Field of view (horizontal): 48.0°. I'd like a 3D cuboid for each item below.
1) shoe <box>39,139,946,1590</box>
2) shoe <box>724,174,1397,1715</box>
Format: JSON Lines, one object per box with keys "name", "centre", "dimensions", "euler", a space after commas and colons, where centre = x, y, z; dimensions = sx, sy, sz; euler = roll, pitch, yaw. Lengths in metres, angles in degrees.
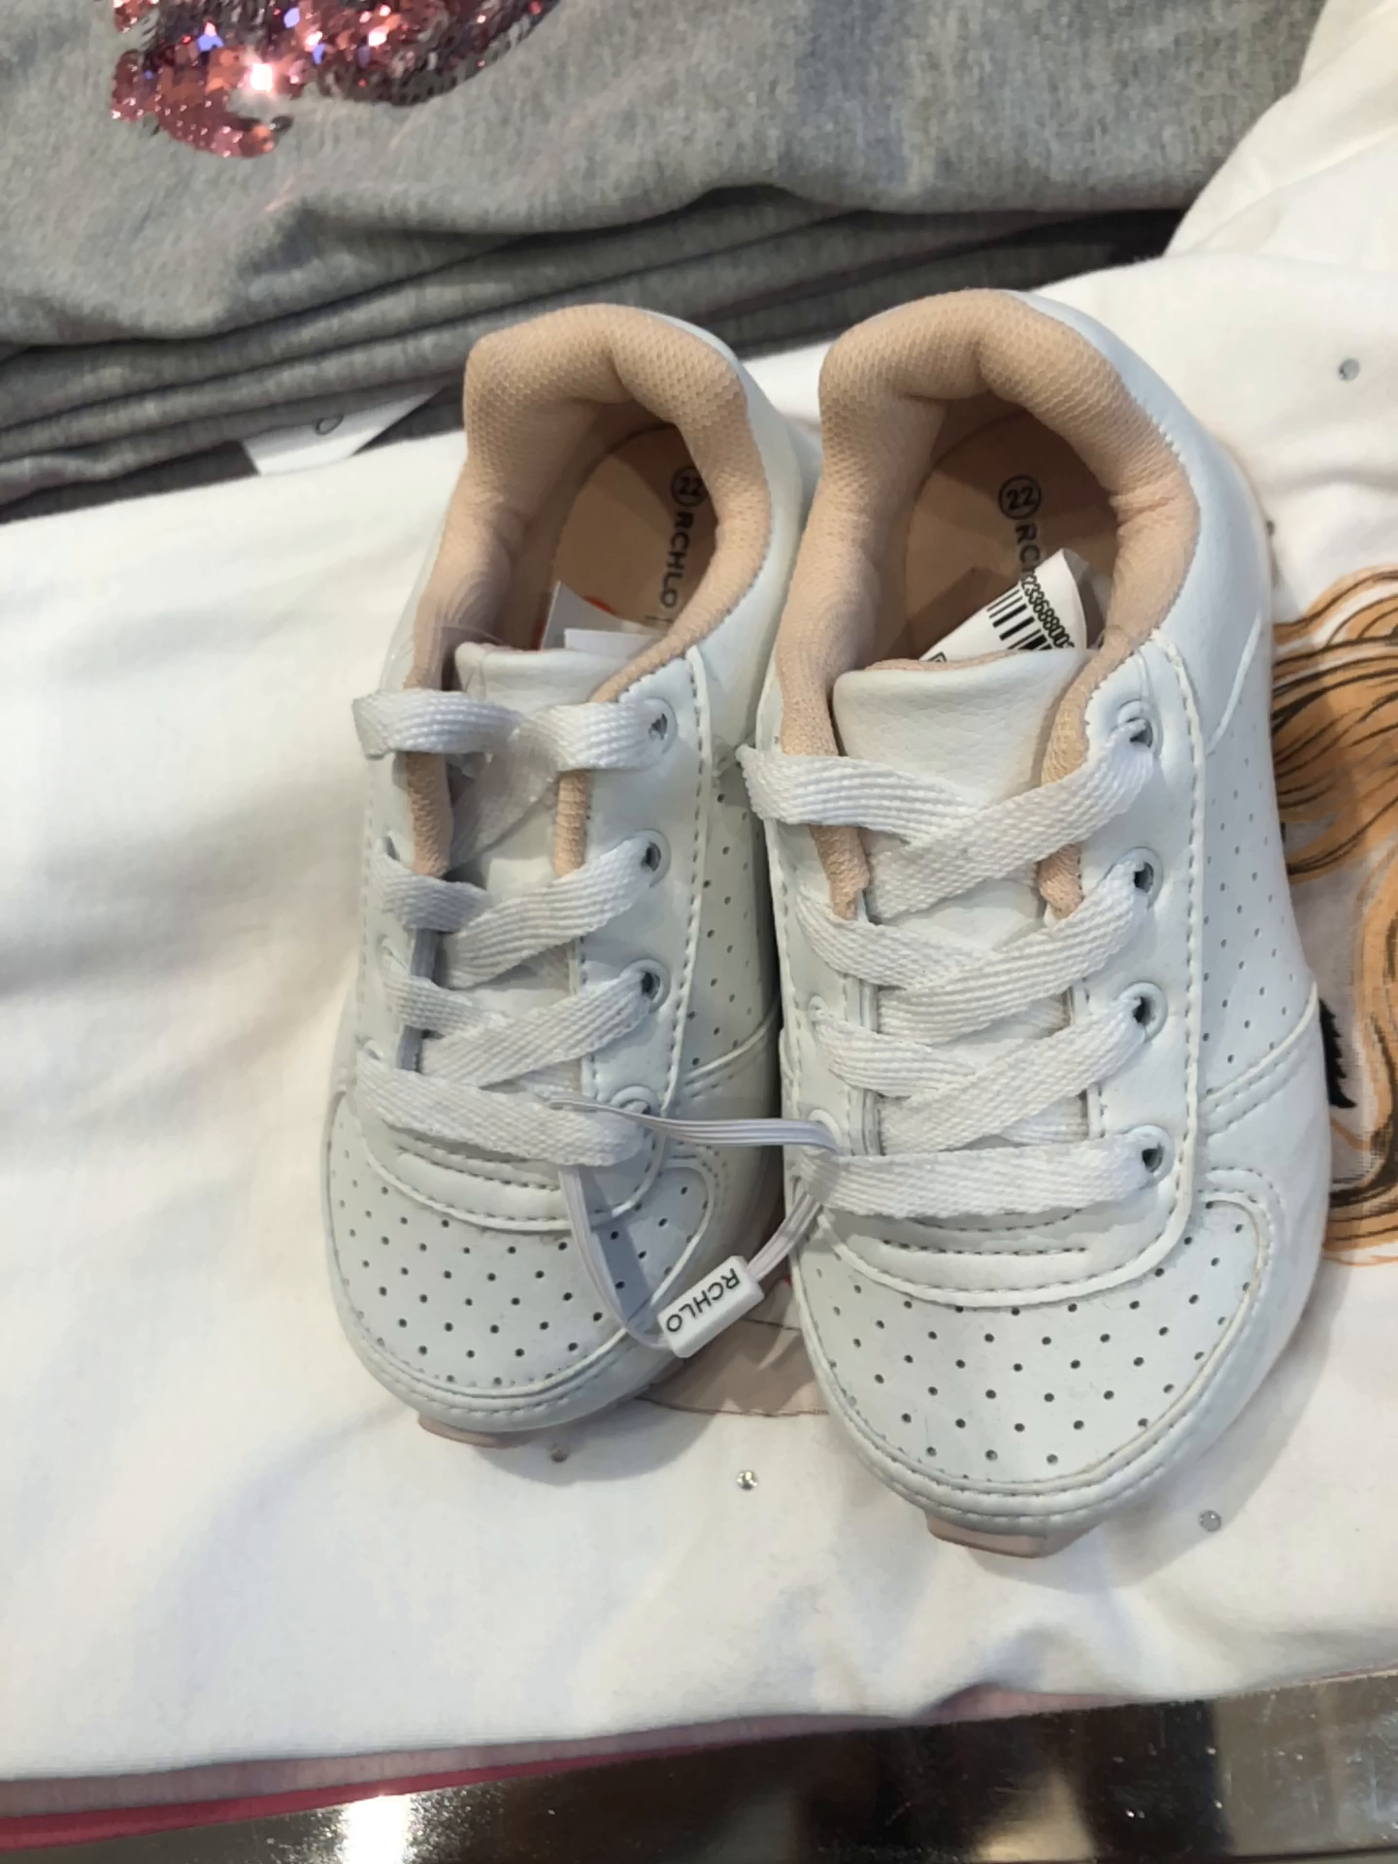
{"name": "shoe", "centre": [-0.021, -0.011, 0.212], "dimensions": [0.080, 0.060, 0.160], "euler": [9, 87, 12]}
{"name": "shoe", "centre": [0.048, 0.000, 0.199], "dimensions": [0.080, 0.060, 0.160], "euler": [0, 85, 10]}
